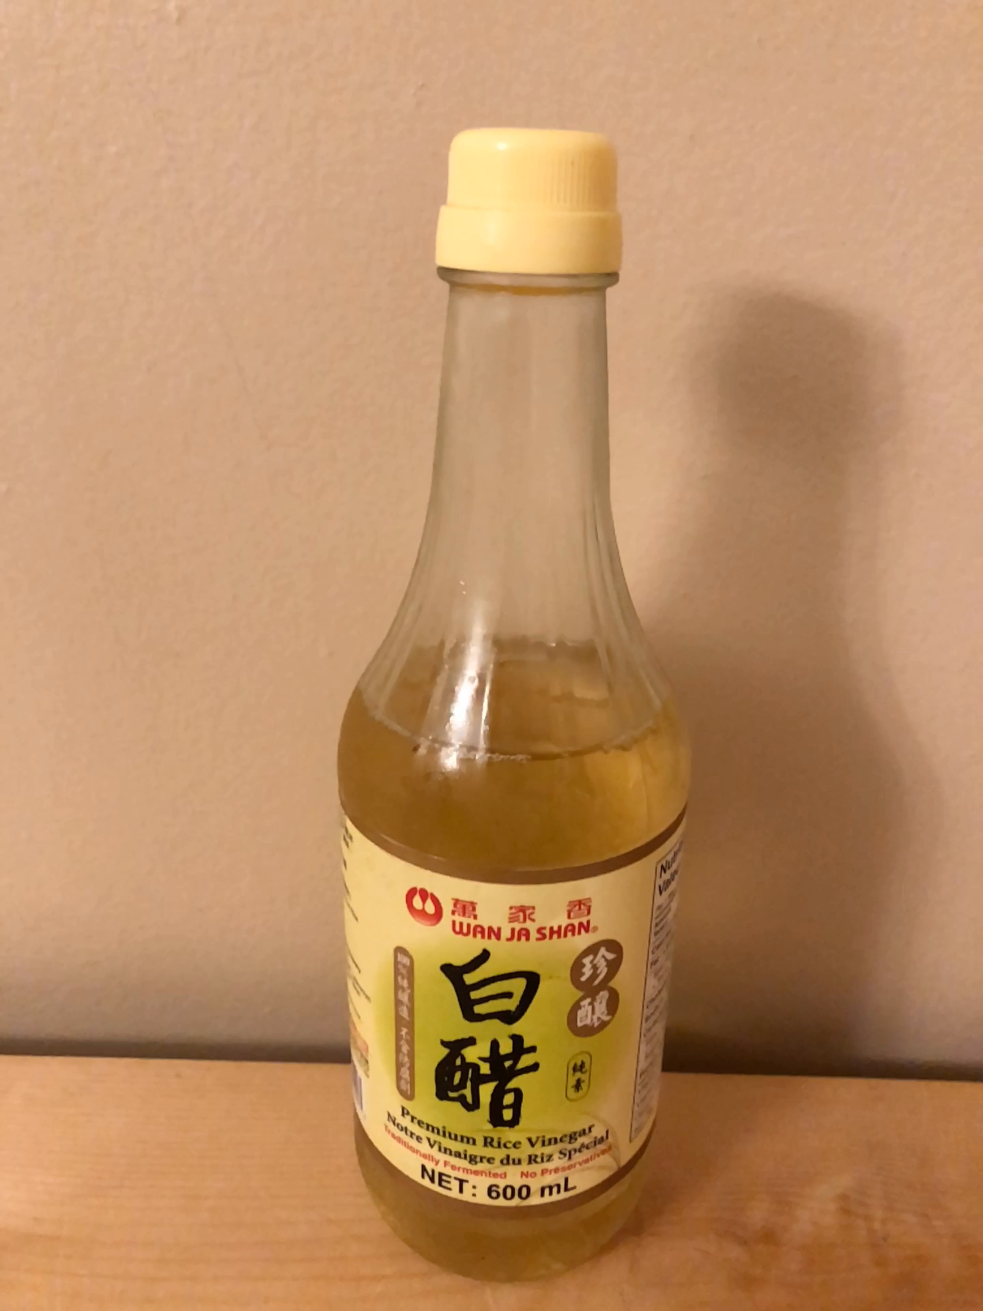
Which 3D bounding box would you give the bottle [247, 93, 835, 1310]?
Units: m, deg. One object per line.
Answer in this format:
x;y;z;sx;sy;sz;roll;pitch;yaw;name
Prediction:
0.008;0.018;0.231;0.080;0.239;0.080;0;22;0;bottle
